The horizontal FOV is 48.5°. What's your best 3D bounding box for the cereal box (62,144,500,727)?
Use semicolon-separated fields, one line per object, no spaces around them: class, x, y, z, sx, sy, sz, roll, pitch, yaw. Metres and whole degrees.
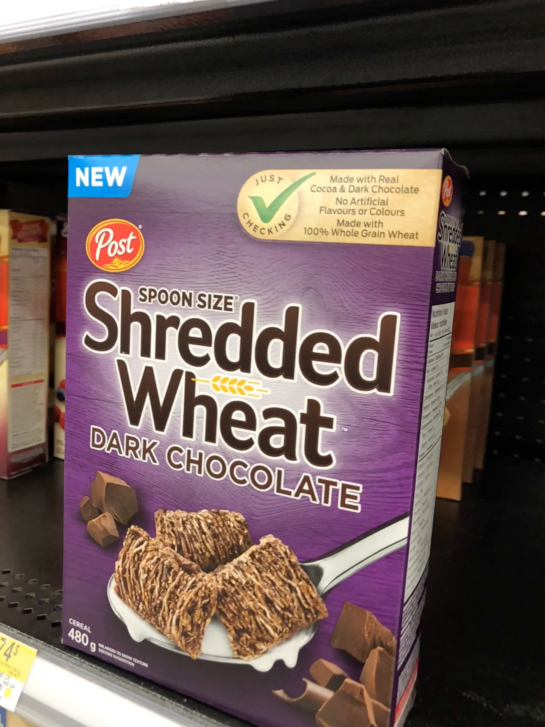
cereal box;-0.008;0.038;0.307;0.200;0.269;0.060;7;10;25
